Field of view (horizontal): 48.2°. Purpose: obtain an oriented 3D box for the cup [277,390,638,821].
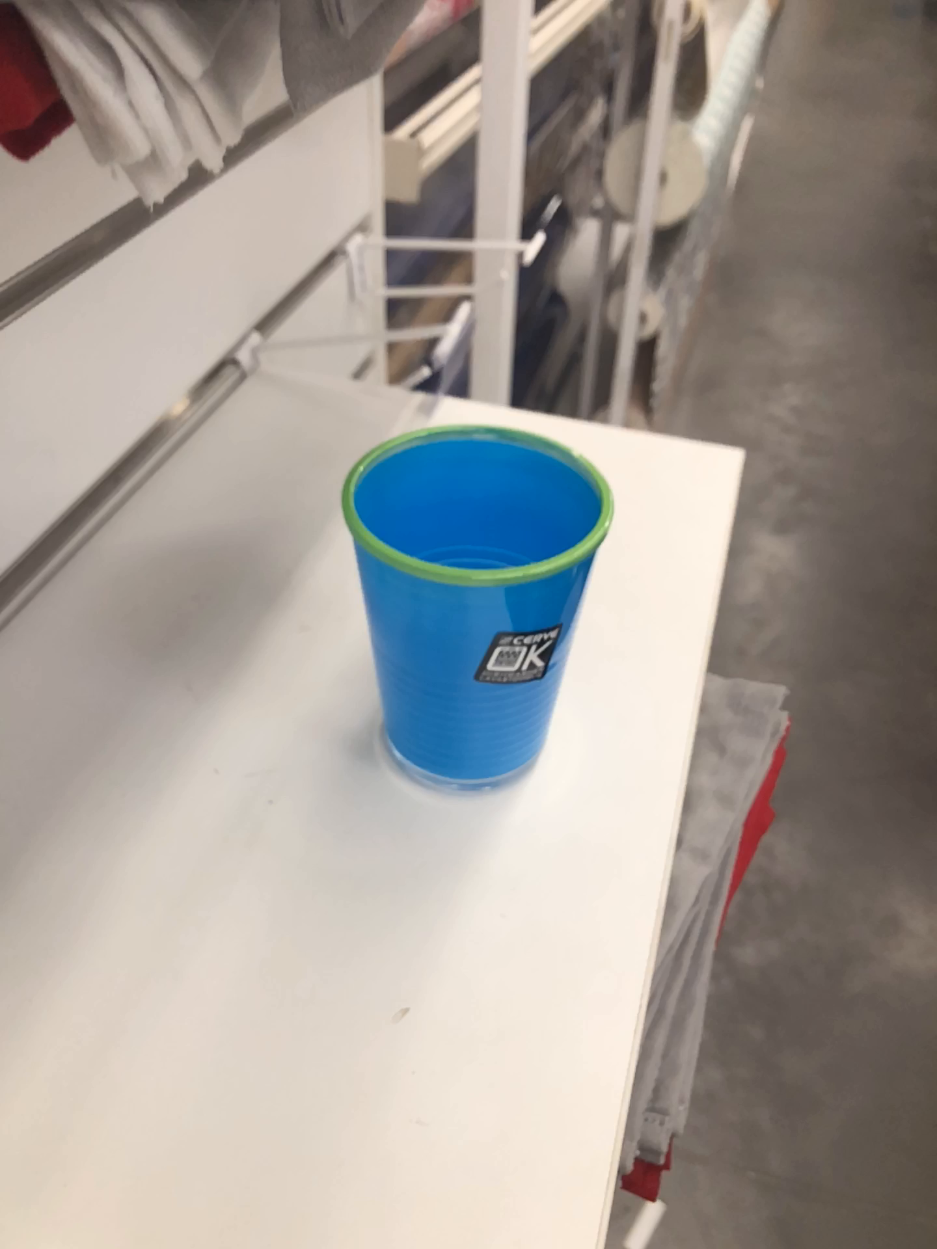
[{"bbox_3d":[-0.001,-0.008,0.332,0.083,0.090,0.081,2,40,-2],"label":"cup"}]
